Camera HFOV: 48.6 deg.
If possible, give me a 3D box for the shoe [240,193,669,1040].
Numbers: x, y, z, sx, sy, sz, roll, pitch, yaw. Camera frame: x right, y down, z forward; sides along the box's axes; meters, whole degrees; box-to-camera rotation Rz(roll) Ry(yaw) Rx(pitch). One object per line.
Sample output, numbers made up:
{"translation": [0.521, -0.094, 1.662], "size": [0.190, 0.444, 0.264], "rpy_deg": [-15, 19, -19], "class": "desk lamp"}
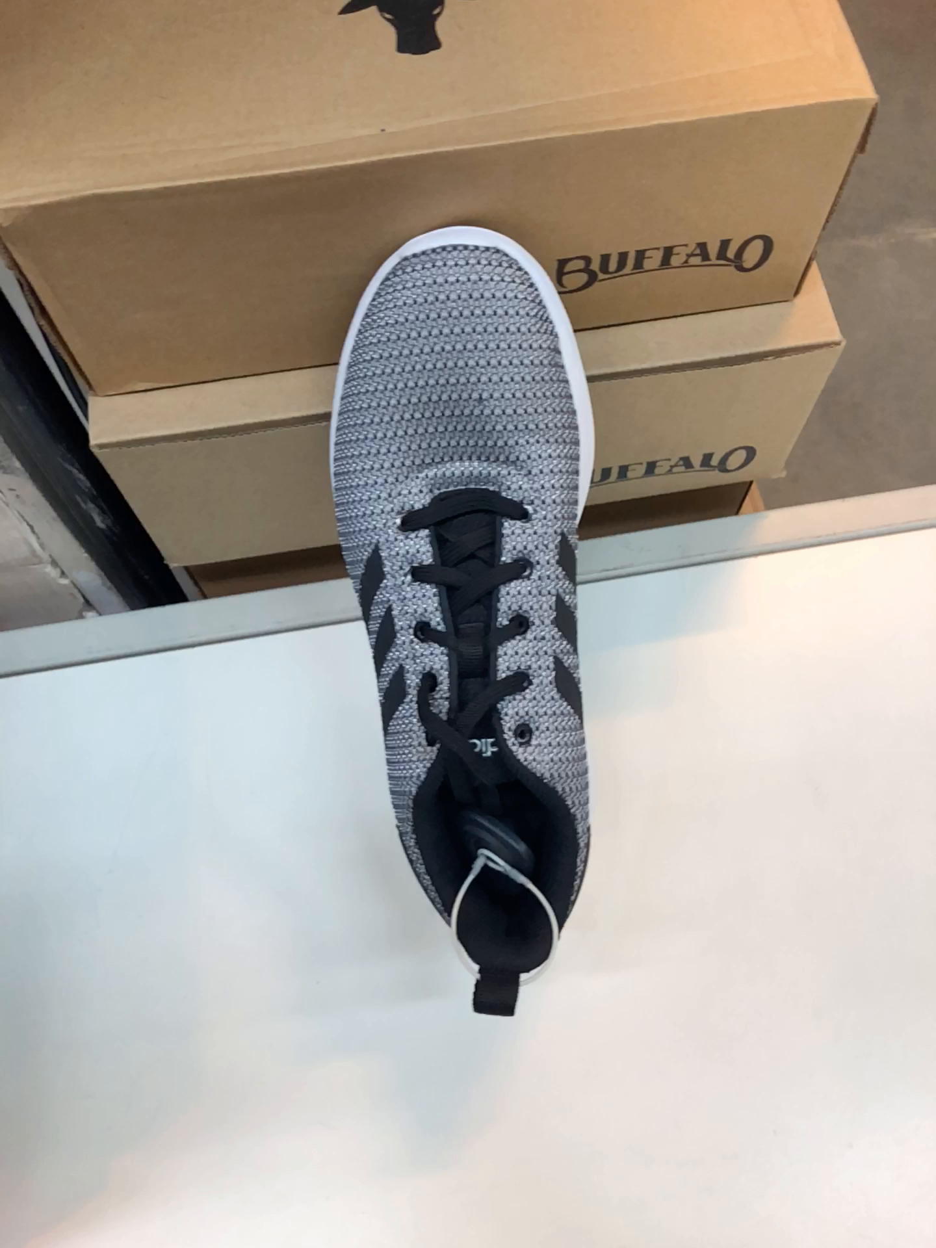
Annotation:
{"translation": [0.003, 0.000, 0.398], "size": [0.112, 0.099, 0.281], "rpy_deg": [-6, 102, 3], "class": "shoe"}
